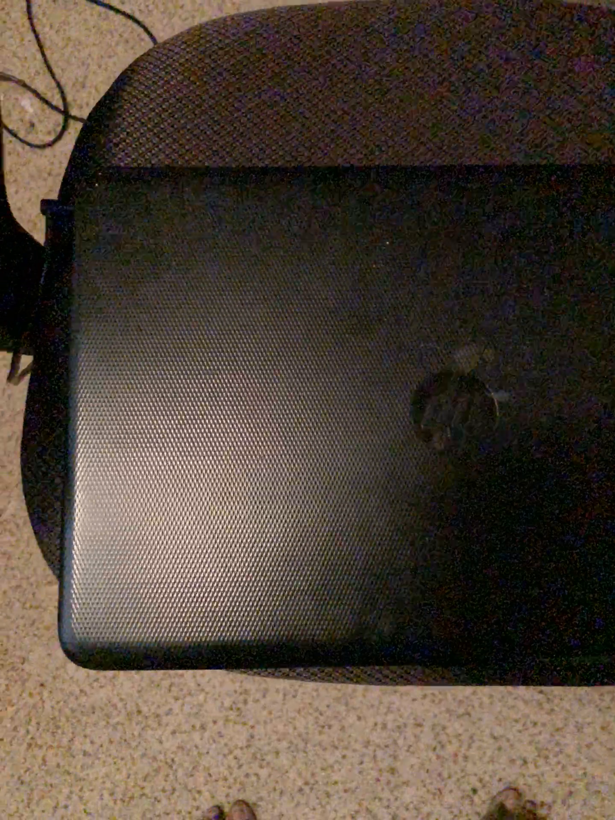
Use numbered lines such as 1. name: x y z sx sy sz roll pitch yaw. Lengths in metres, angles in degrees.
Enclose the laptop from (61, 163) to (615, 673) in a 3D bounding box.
1. laptop: 0.074 -0.002 0.329 0.378 0.018 0.245 0 84 -5
